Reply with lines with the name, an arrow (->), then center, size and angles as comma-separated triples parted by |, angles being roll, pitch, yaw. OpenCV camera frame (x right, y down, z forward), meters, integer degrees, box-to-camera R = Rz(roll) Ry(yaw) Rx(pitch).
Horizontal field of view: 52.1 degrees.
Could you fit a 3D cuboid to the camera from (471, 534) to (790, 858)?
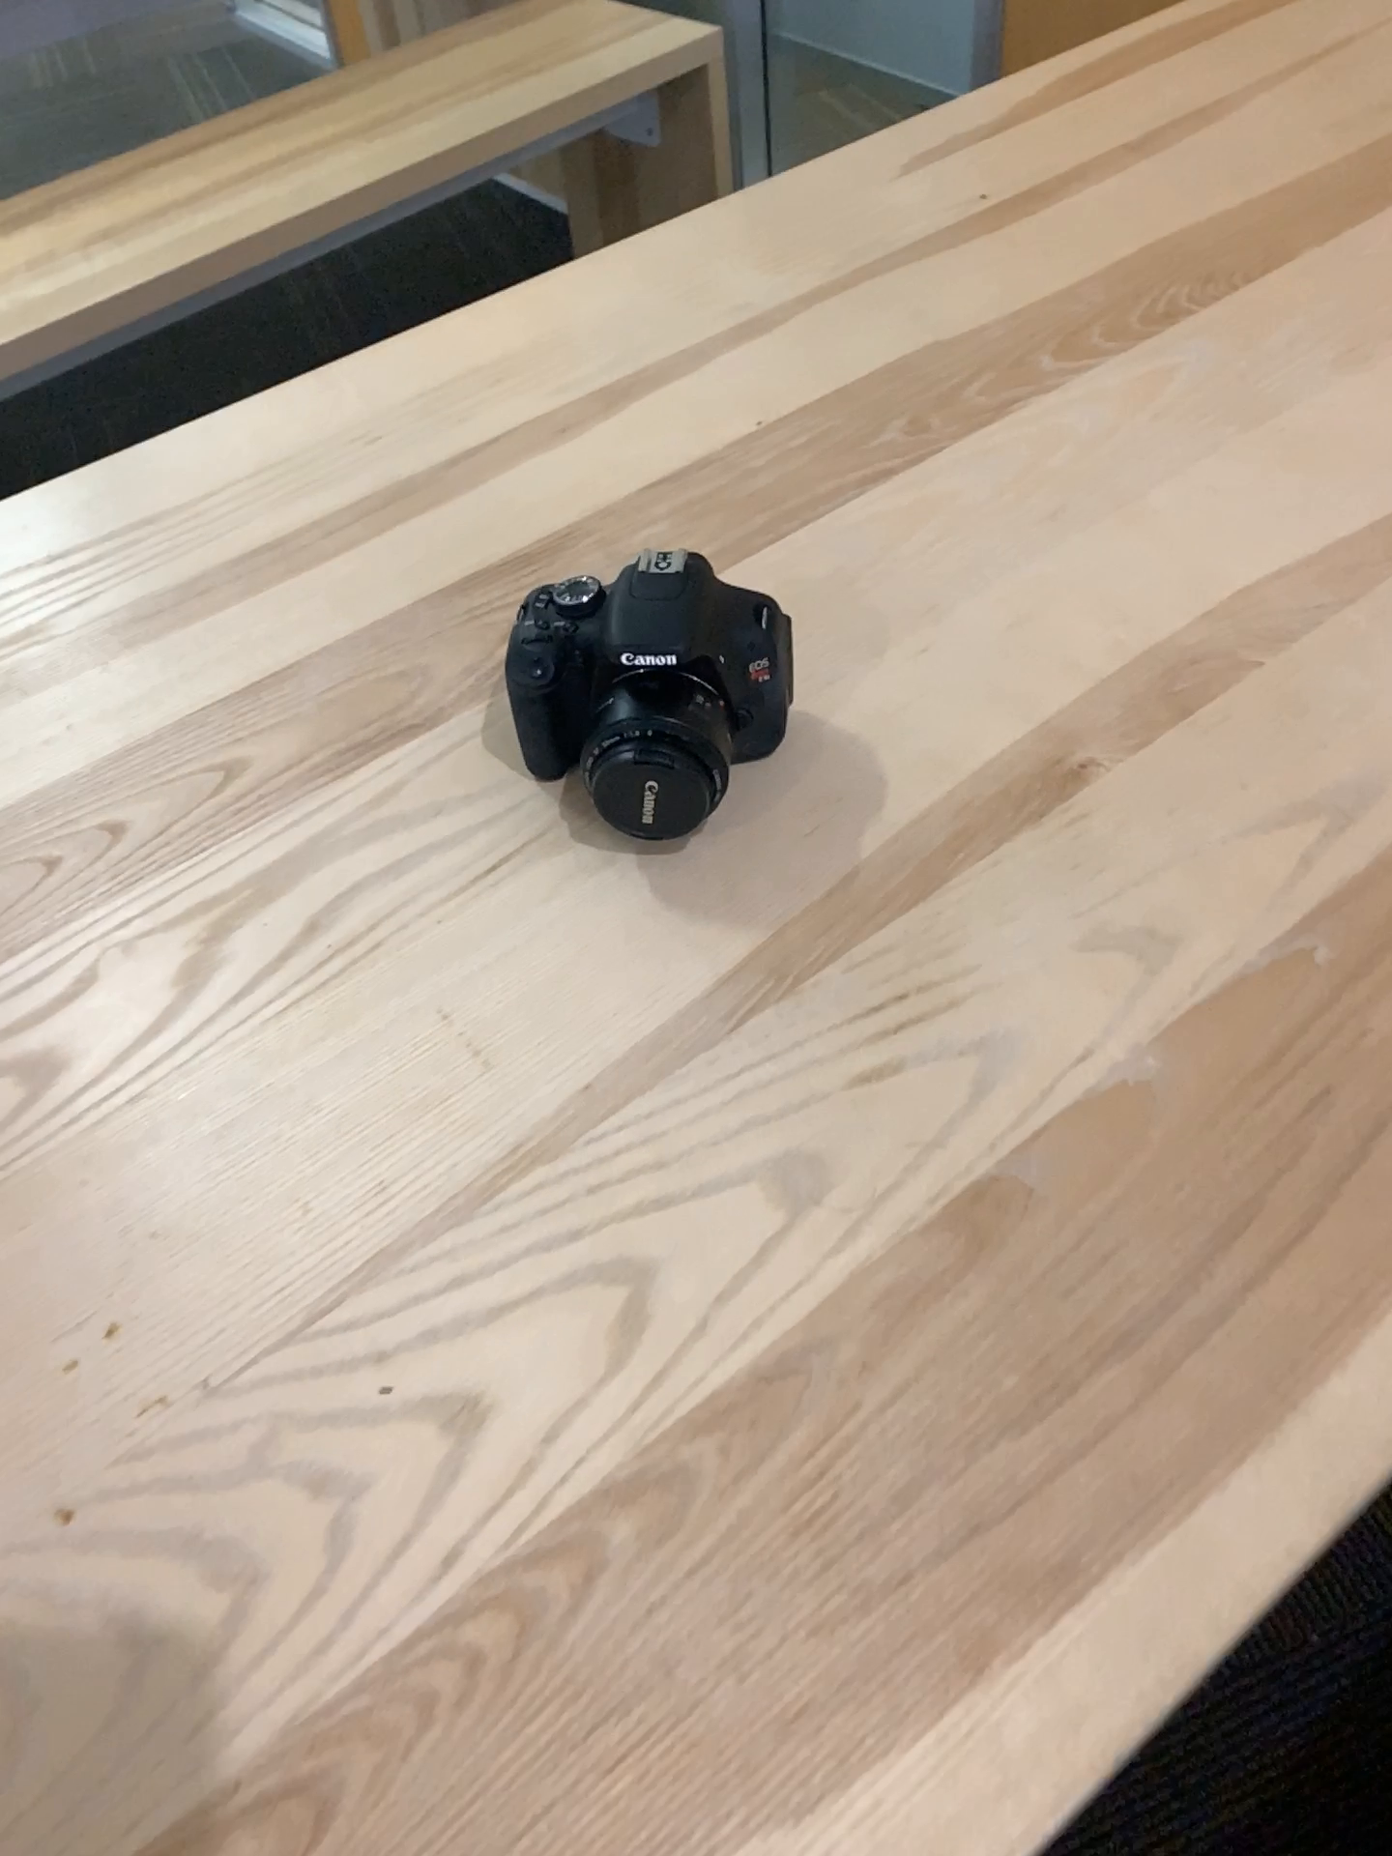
camera -> -0.023, -0.111, 0.674 | 0.127, 0.089, 0.127 | 1, 49, 7
